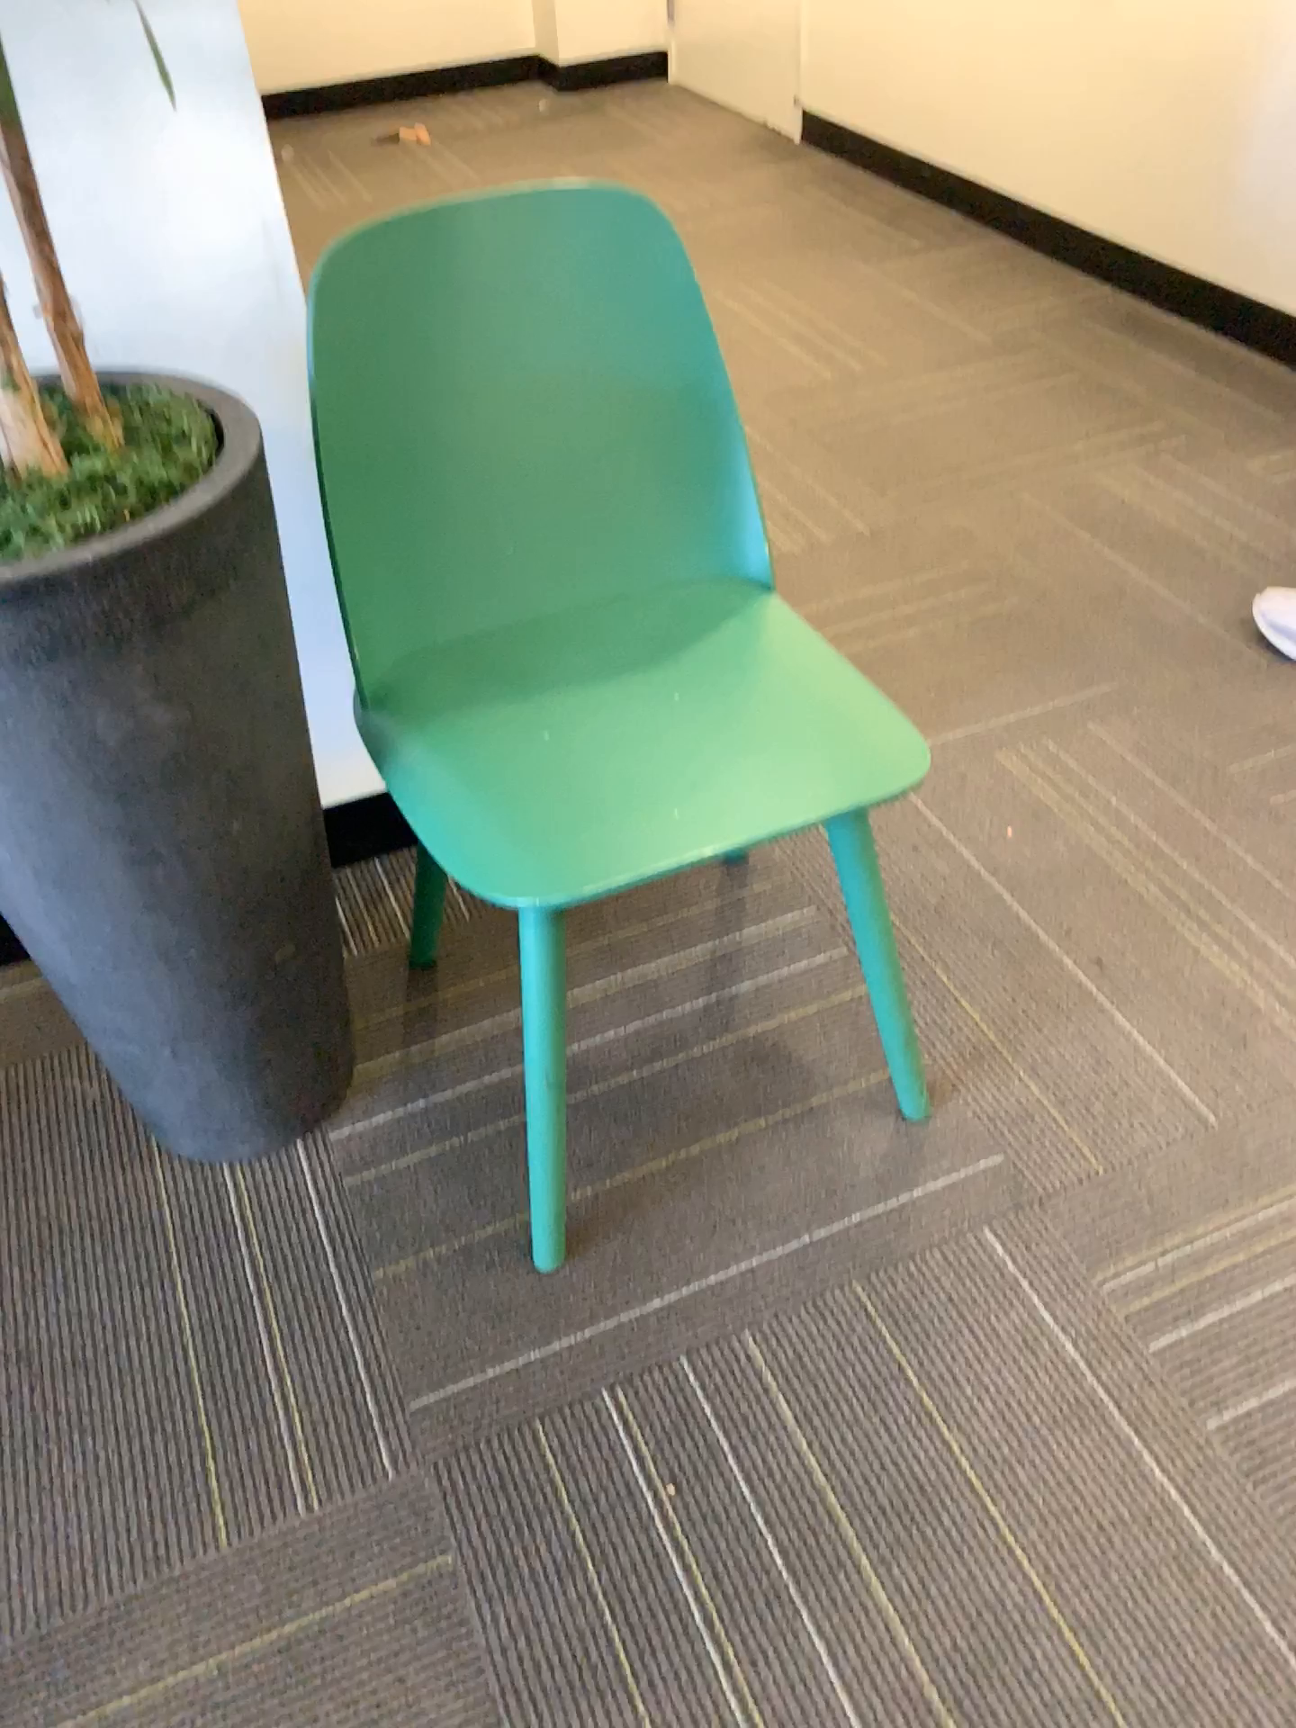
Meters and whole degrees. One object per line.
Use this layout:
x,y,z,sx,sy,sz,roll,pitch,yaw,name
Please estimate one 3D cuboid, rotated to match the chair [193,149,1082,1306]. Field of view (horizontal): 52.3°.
-0.059,-0.157,1.130,0.390,0.626,0.714,-17,43,-14,chair
